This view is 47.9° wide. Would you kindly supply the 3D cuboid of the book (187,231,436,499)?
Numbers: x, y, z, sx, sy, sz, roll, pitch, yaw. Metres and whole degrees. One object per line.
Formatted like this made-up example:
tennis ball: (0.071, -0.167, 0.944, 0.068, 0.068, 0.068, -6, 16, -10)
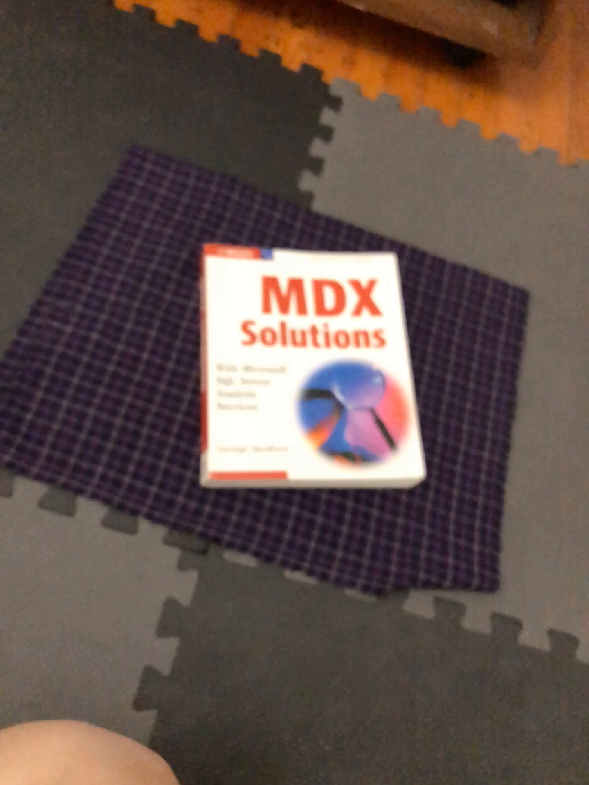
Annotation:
book: (0.007, -0.031, 0.655, 0.220, 0.050, 0.261, 1, 65, -12)
